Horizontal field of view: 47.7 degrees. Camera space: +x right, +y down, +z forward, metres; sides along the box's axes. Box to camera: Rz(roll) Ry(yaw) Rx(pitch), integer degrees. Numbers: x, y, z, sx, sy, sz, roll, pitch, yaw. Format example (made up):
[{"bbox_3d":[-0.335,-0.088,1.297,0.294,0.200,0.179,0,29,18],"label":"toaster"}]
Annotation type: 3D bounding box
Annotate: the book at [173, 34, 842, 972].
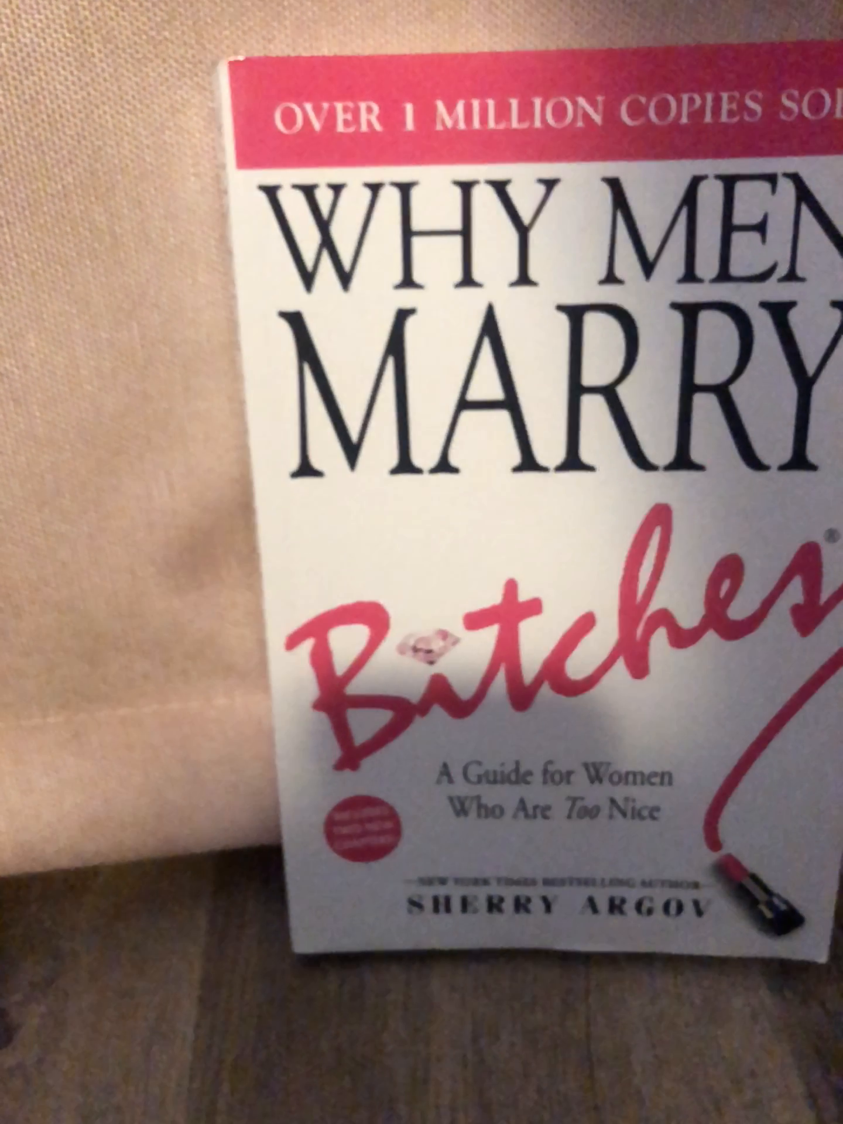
[{"bbox_3d":[0.029,-0.001,0.233,0.150,0.219,0.037,0,20,1],"label":"book"}]
